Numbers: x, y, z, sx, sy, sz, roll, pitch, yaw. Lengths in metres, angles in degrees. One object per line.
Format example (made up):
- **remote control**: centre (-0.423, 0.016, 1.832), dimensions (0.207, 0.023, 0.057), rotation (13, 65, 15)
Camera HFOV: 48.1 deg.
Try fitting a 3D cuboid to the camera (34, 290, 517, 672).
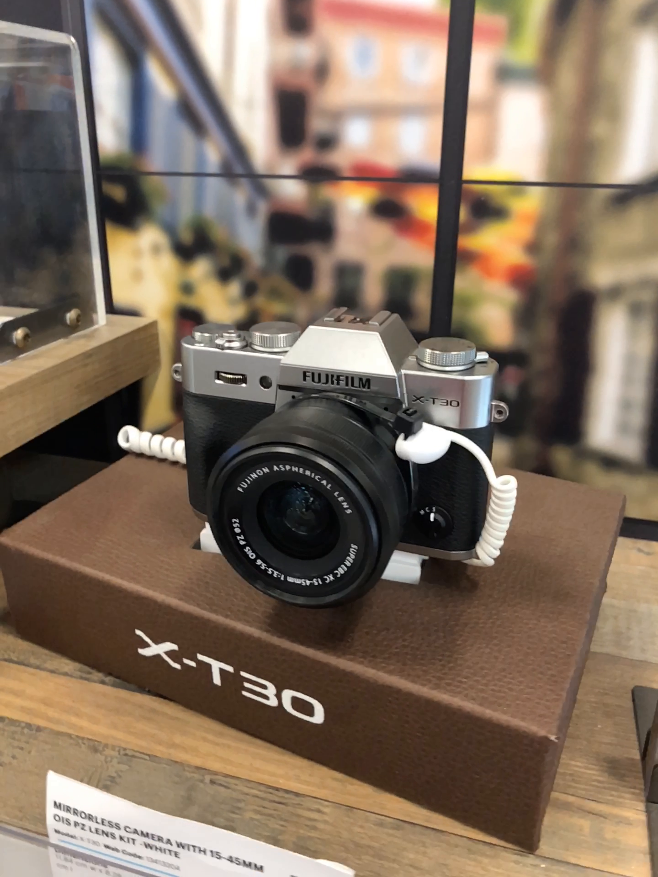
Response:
- **camera**: centre (-0.012, 0.003, 0.255), dimensions (0.130, 0.080, 0.090), rotation (9, 25, 20)
